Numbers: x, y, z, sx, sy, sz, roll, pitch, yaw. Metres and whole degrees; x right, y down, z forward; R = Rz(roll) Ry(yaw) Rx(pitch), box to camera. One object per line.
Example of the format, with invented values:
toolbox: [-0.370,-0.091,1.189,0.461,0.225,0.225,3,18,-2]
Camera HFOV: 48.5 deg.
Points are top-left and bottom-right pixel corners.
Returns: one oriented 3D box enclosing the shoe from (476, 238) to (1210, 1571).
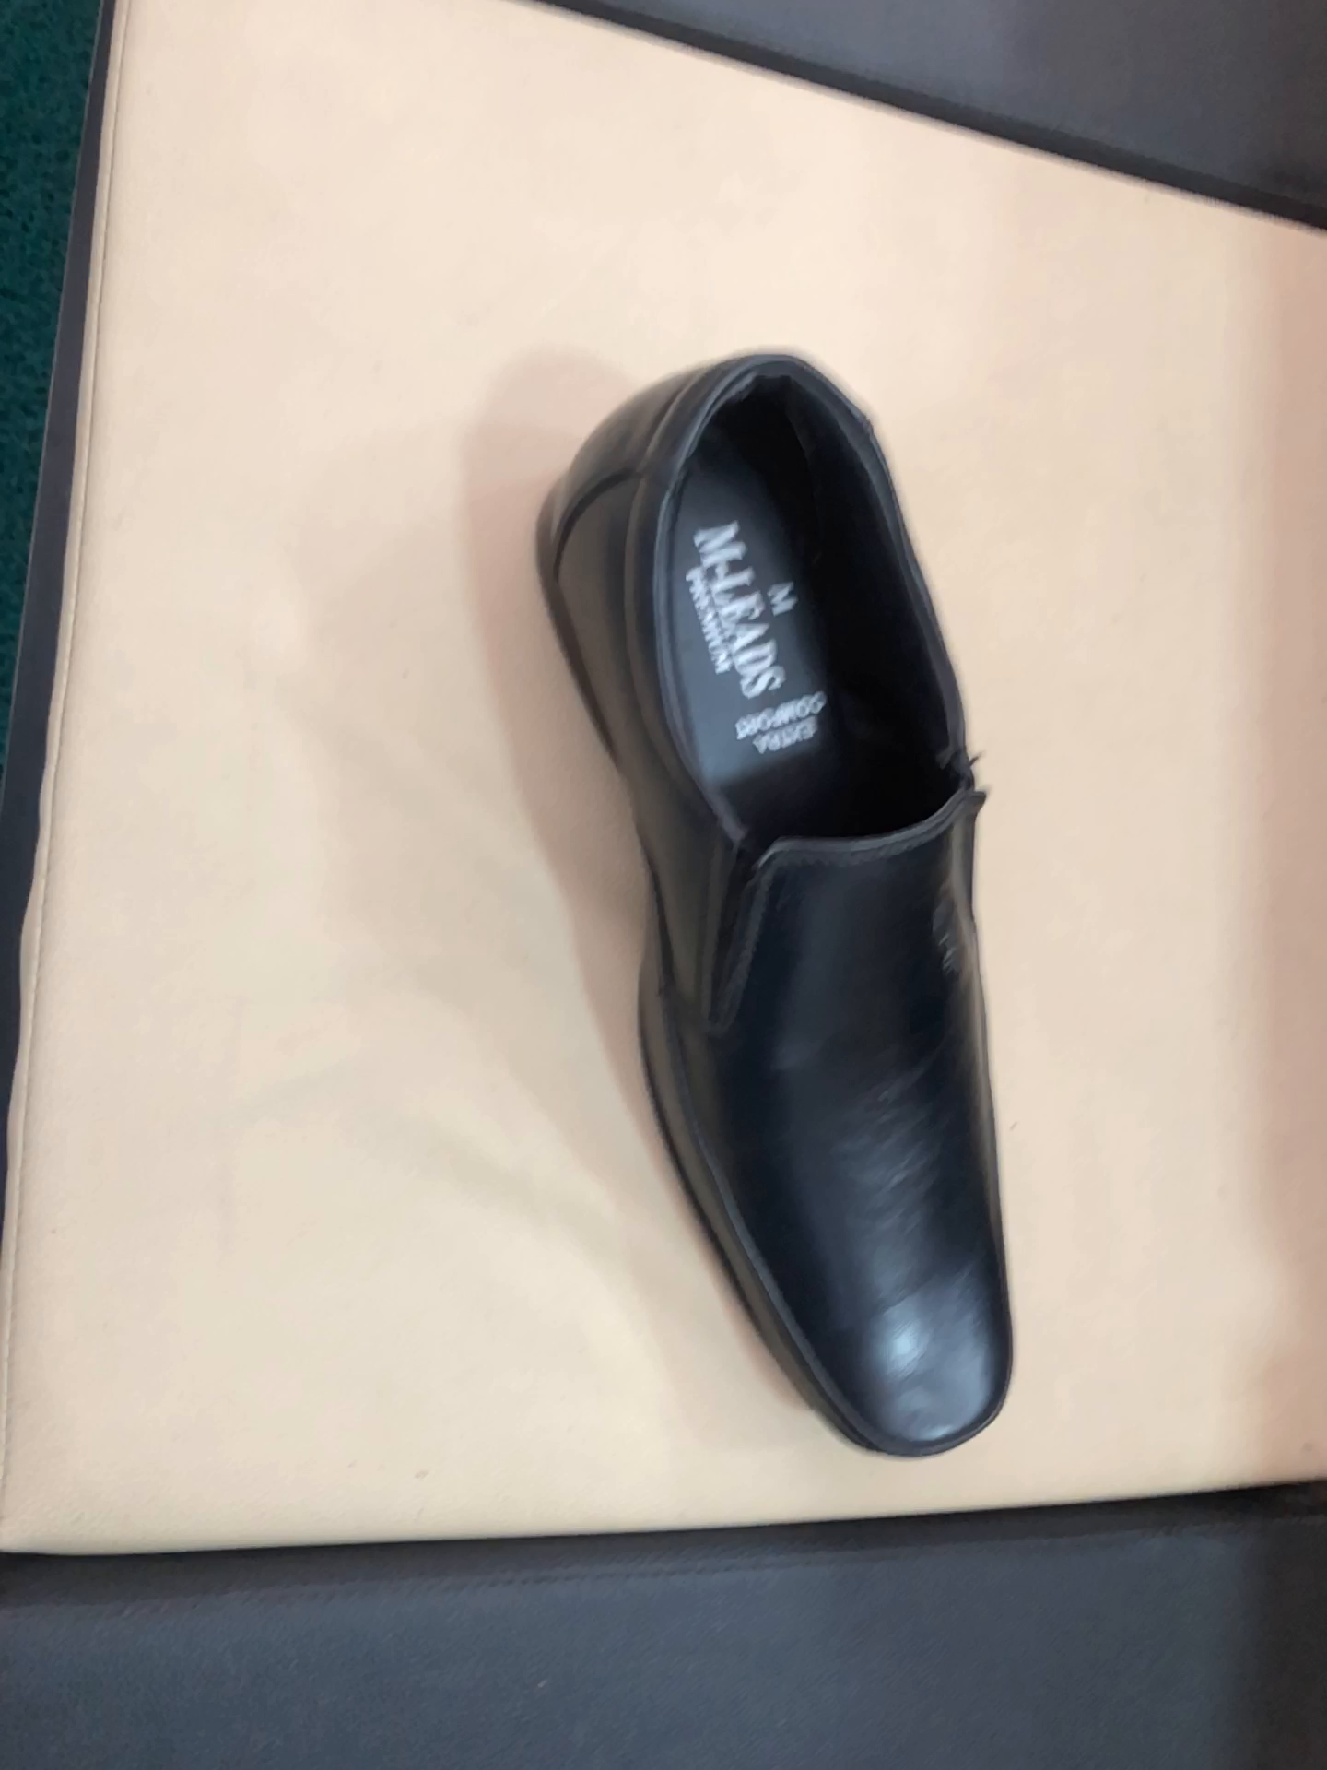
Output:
shoe: [0.042,0.000,0.385,0.100,0.080,0.300,-14,91,-20]
